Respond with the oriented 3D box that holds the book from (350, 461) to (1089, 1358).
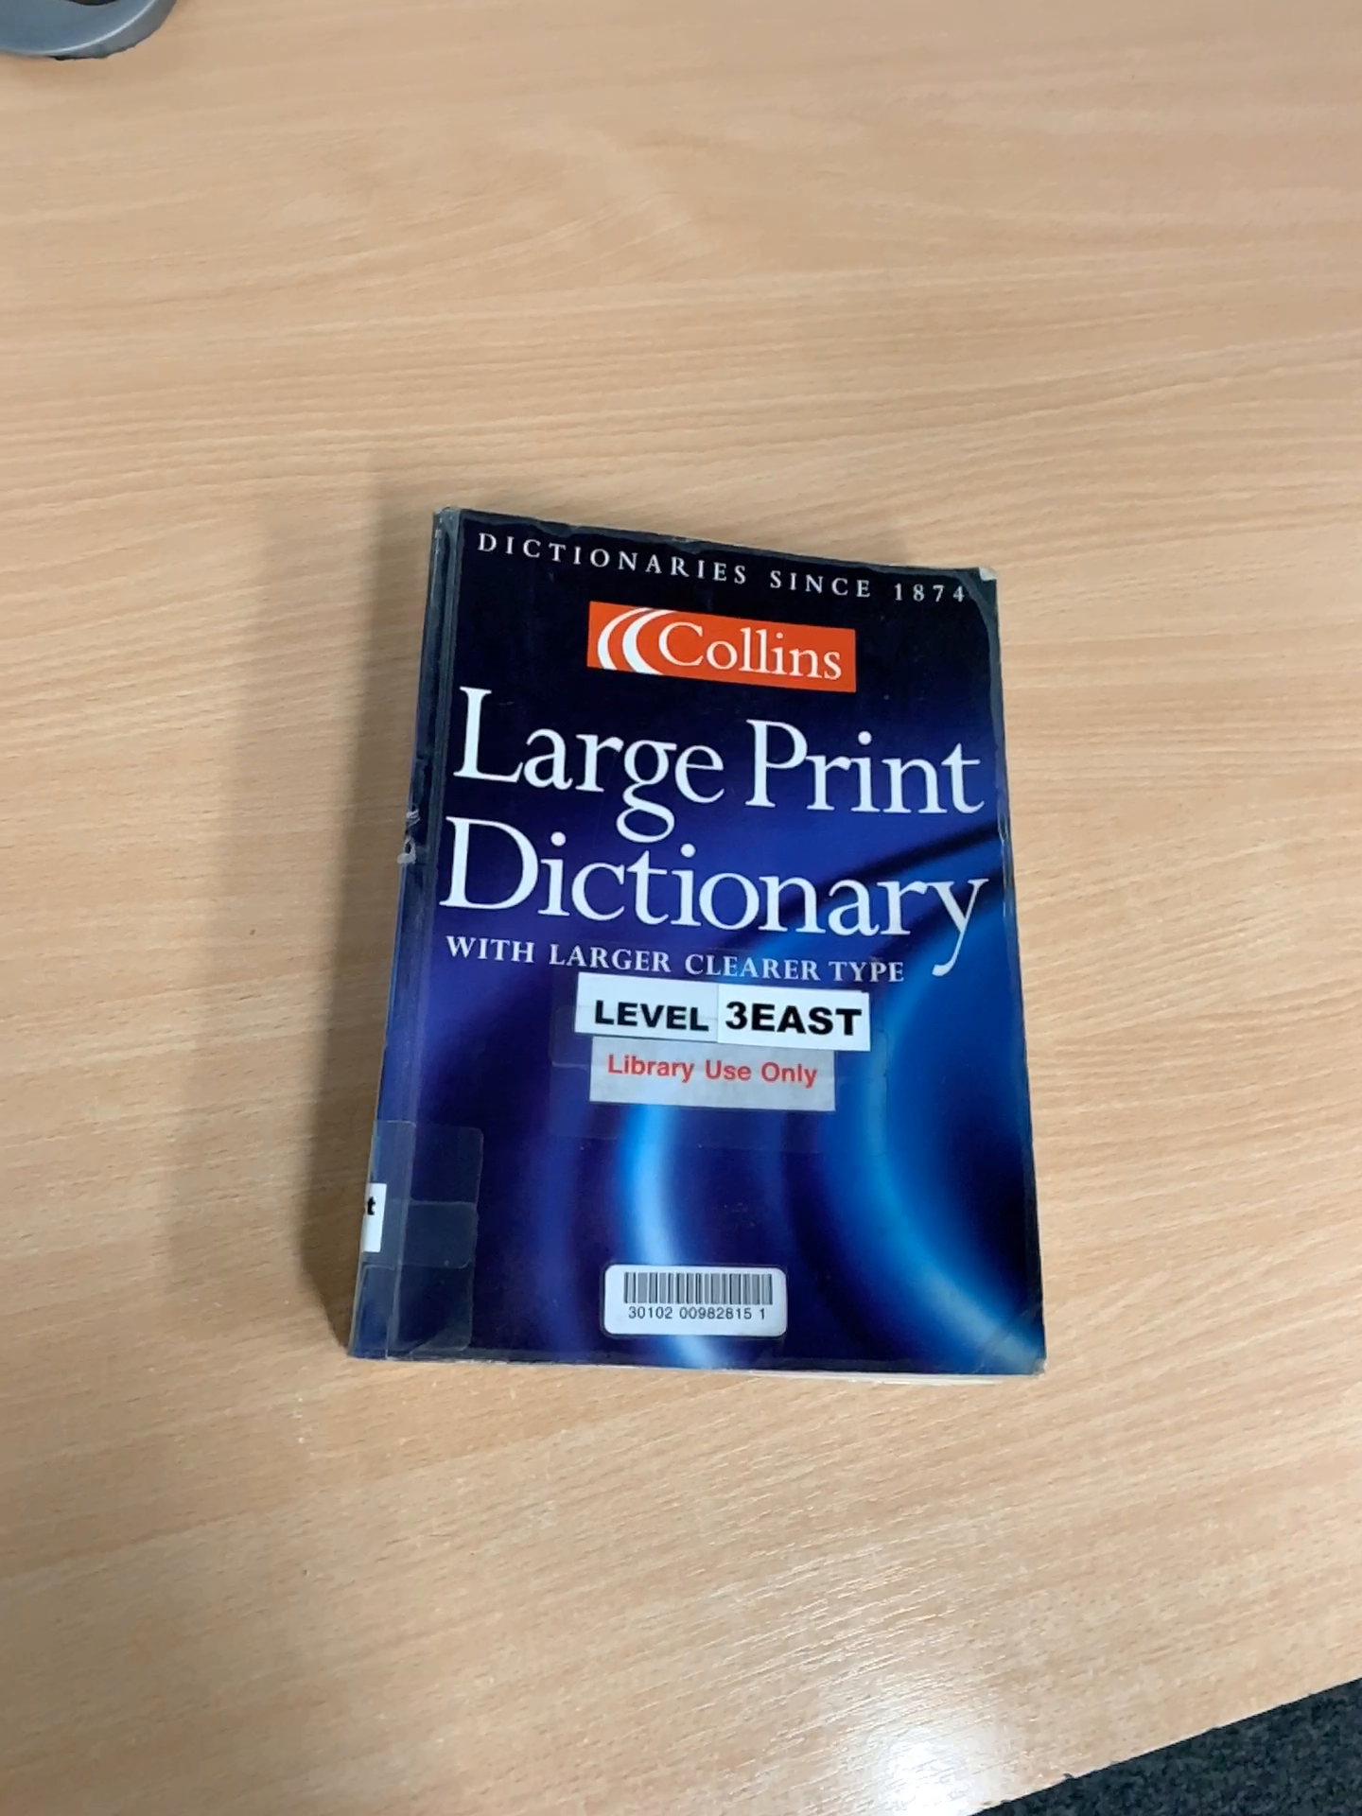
[{"bbox_3d":[0.014,0.000,0.408,0.188,0.050,0.243,5,73,-8],"label":"book"}]
